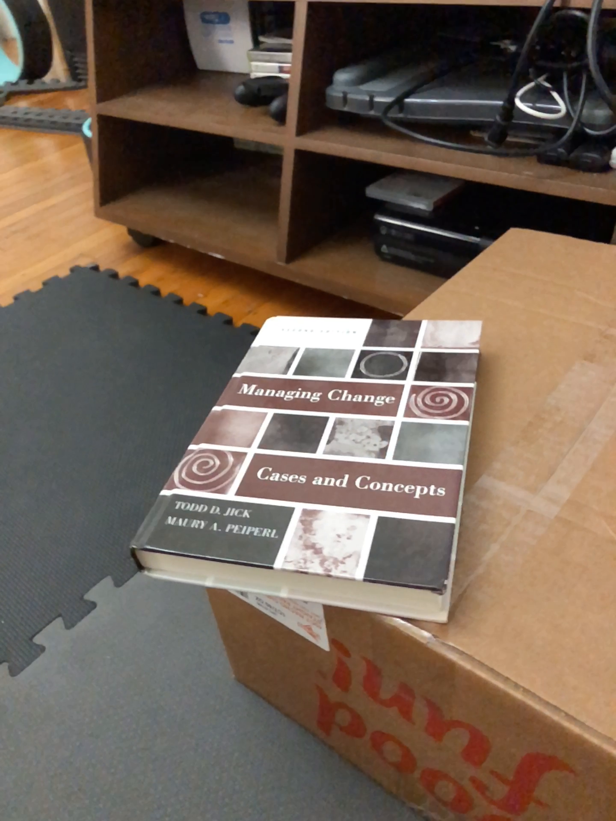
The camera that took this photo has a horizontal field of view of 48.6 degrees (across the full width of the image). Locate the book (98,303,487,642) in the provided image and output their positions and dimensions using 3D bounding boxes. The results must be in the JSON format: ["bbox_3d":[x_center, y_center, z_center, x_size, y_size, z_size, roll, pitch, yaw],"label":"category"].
[{"bbox_3d":[0.011,0.012,0.430,0.180,0.030,0.251,5,40,15],"label":"book"}]
